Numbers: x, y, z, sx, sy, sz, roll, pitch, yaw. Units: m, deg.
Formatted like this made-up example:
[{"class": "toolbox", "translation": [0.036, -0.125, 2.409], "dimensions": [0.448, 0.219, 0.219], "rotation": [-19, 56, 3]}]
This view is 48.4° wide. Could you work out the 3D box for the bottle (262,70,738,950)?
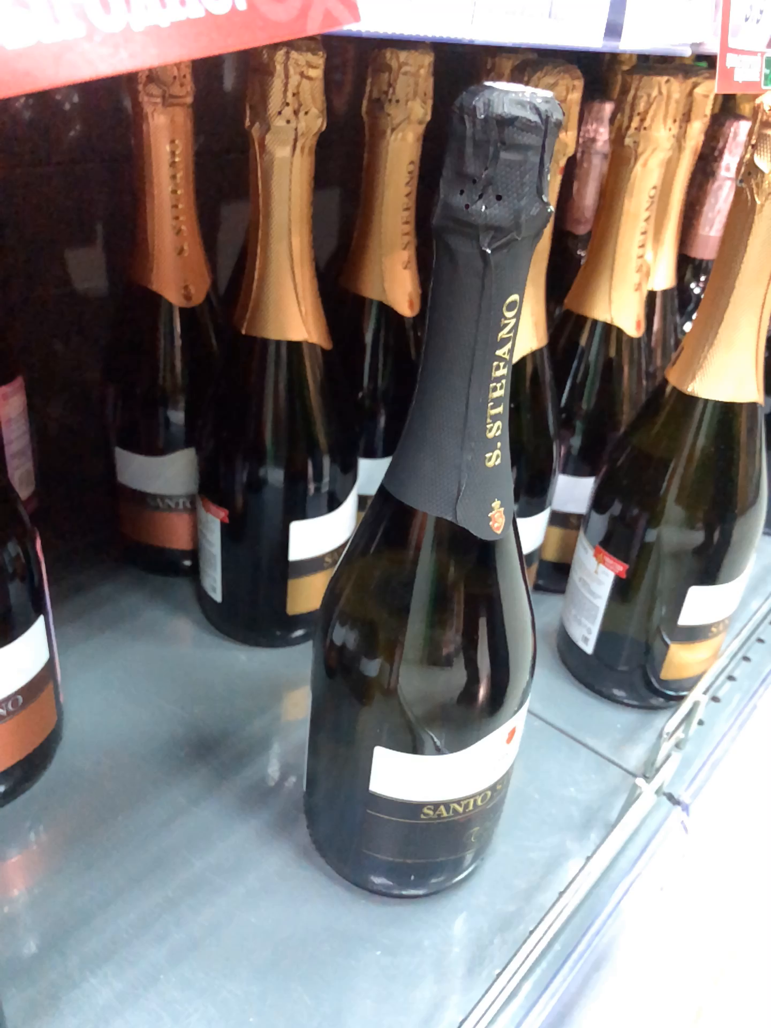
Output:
[{"class": "bottle", "translation": [0.025, 0.006, 0.312], "dimensions": [0.090, 0.288, 0.100], "rotation": [25, 35, 30]}]
